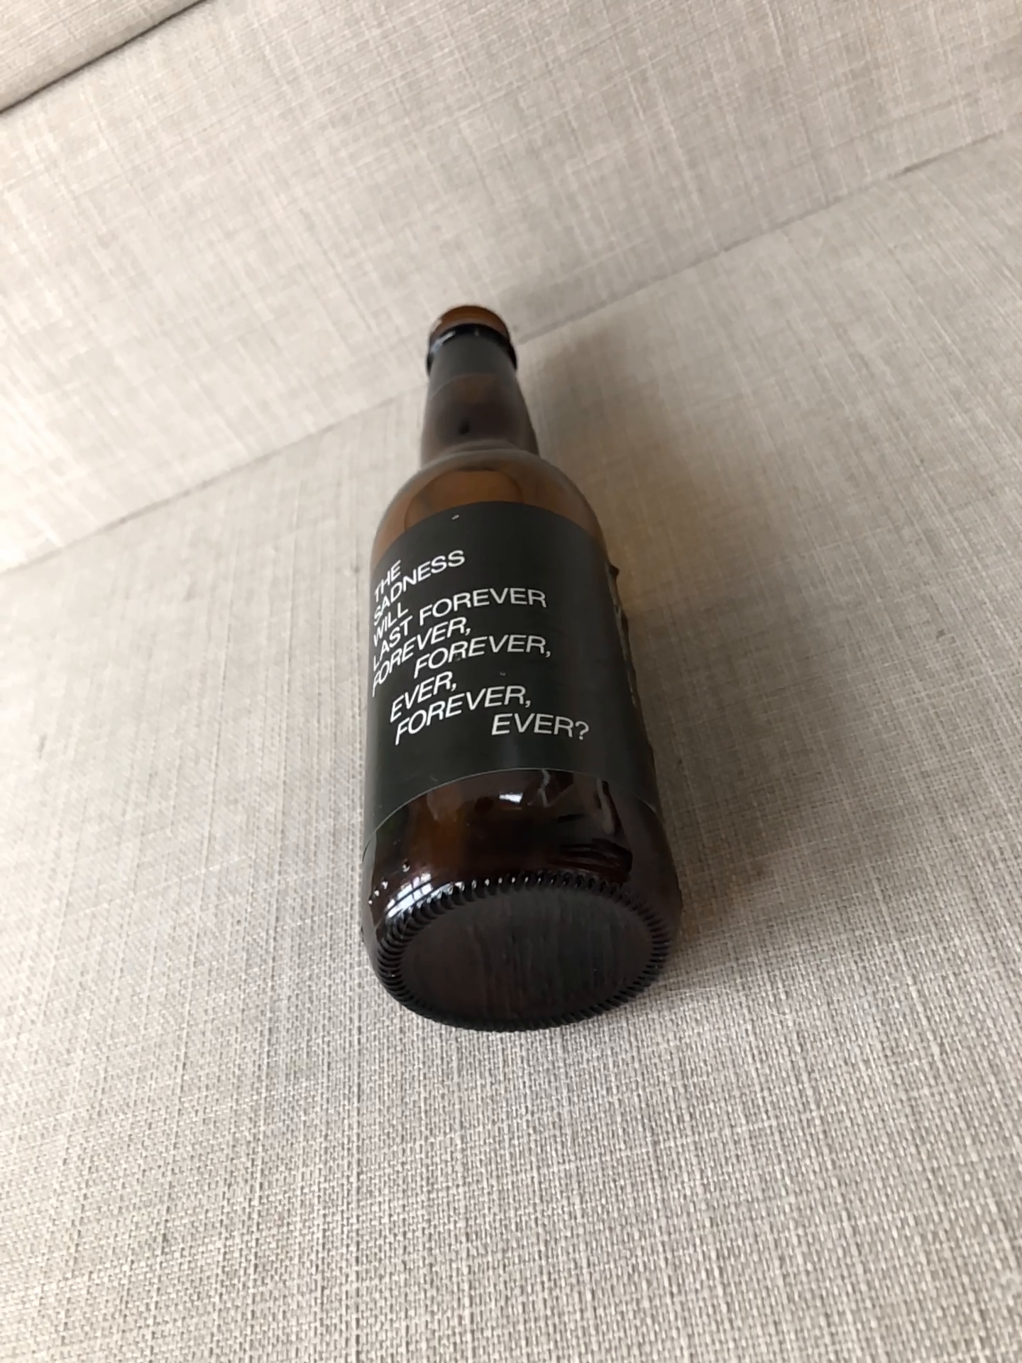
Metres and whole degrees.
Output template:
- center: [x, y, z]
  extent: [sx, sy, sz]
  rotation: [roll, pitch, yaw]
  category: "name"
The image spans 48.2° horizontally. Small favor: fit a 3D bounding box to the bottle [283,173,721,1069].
- center: [-0.008, -0.036, 0.287]
  extent: [0.060, 0.060, 0.240]
  rotation: [-19, 46, 14]
  category: "bottle"
